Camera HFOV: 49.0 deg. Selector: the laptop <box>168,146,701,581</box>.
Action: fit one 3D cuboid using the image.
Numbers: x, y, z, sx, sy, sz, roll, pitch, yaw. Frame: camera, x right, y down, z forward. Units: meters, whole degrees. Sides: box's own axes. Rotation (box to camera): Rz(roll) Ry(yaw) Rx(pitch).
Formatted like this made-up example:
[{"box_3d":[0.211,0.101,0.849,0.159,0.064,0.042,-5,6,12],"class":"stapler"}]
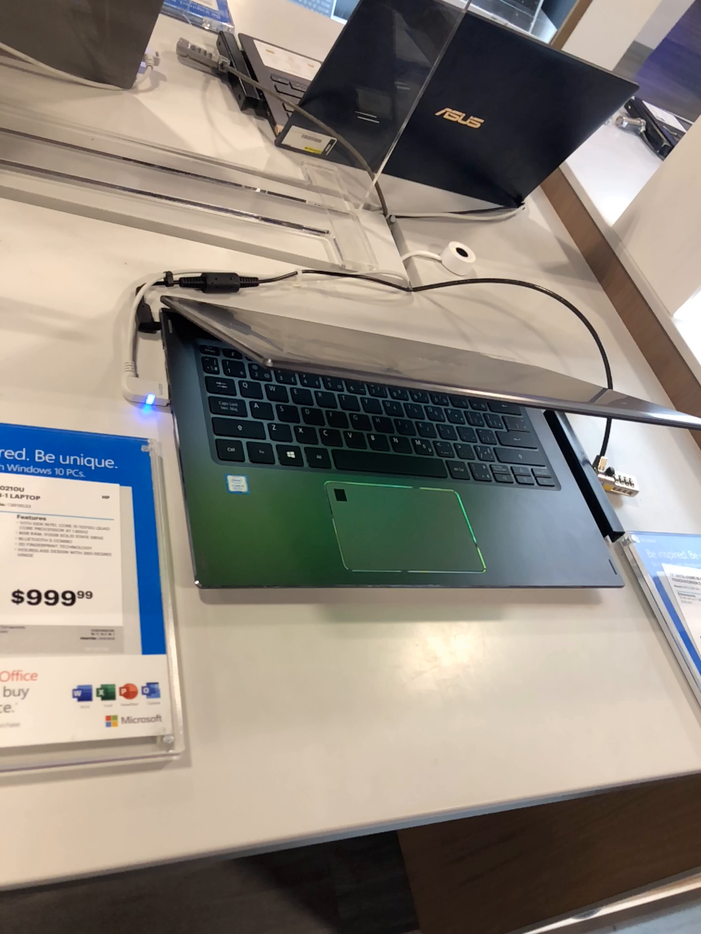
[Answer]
[{"box_3d":[0.058,-0.051,0.490,0.301,0.123,0.212,5,51,-28],"class":"laptop"}]
